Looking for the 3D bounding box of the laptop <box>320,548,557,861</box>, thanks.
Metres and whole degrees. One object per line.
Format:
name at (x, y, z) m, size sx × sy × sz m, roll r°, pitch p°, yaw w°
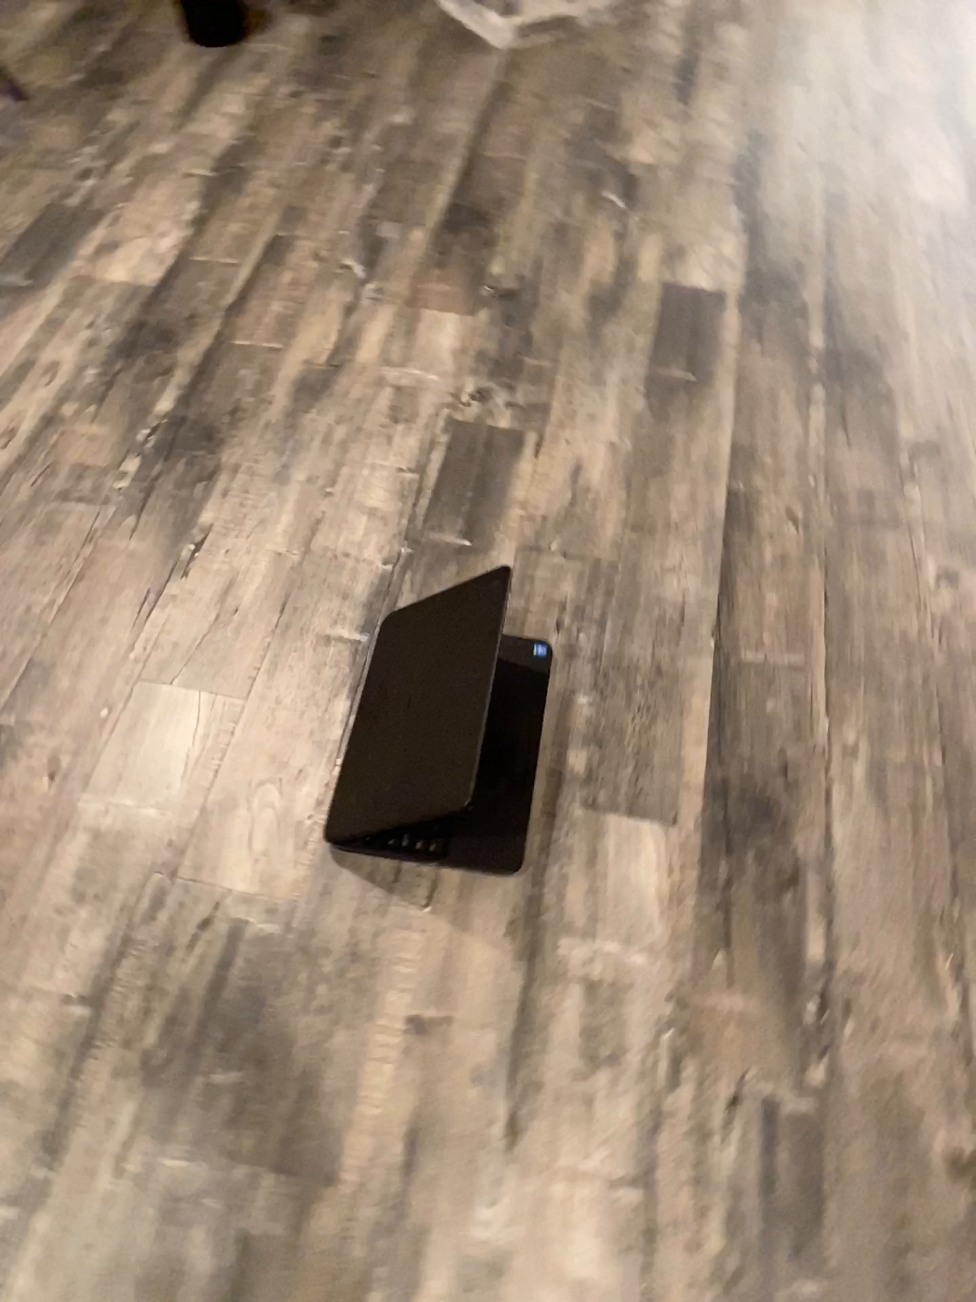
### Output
laptop at (-0.053, 0.063, 1.297) m, size 0.230 × 0.170 × 0.354 m, roll 7°, pitch 55°, yaw 4°
